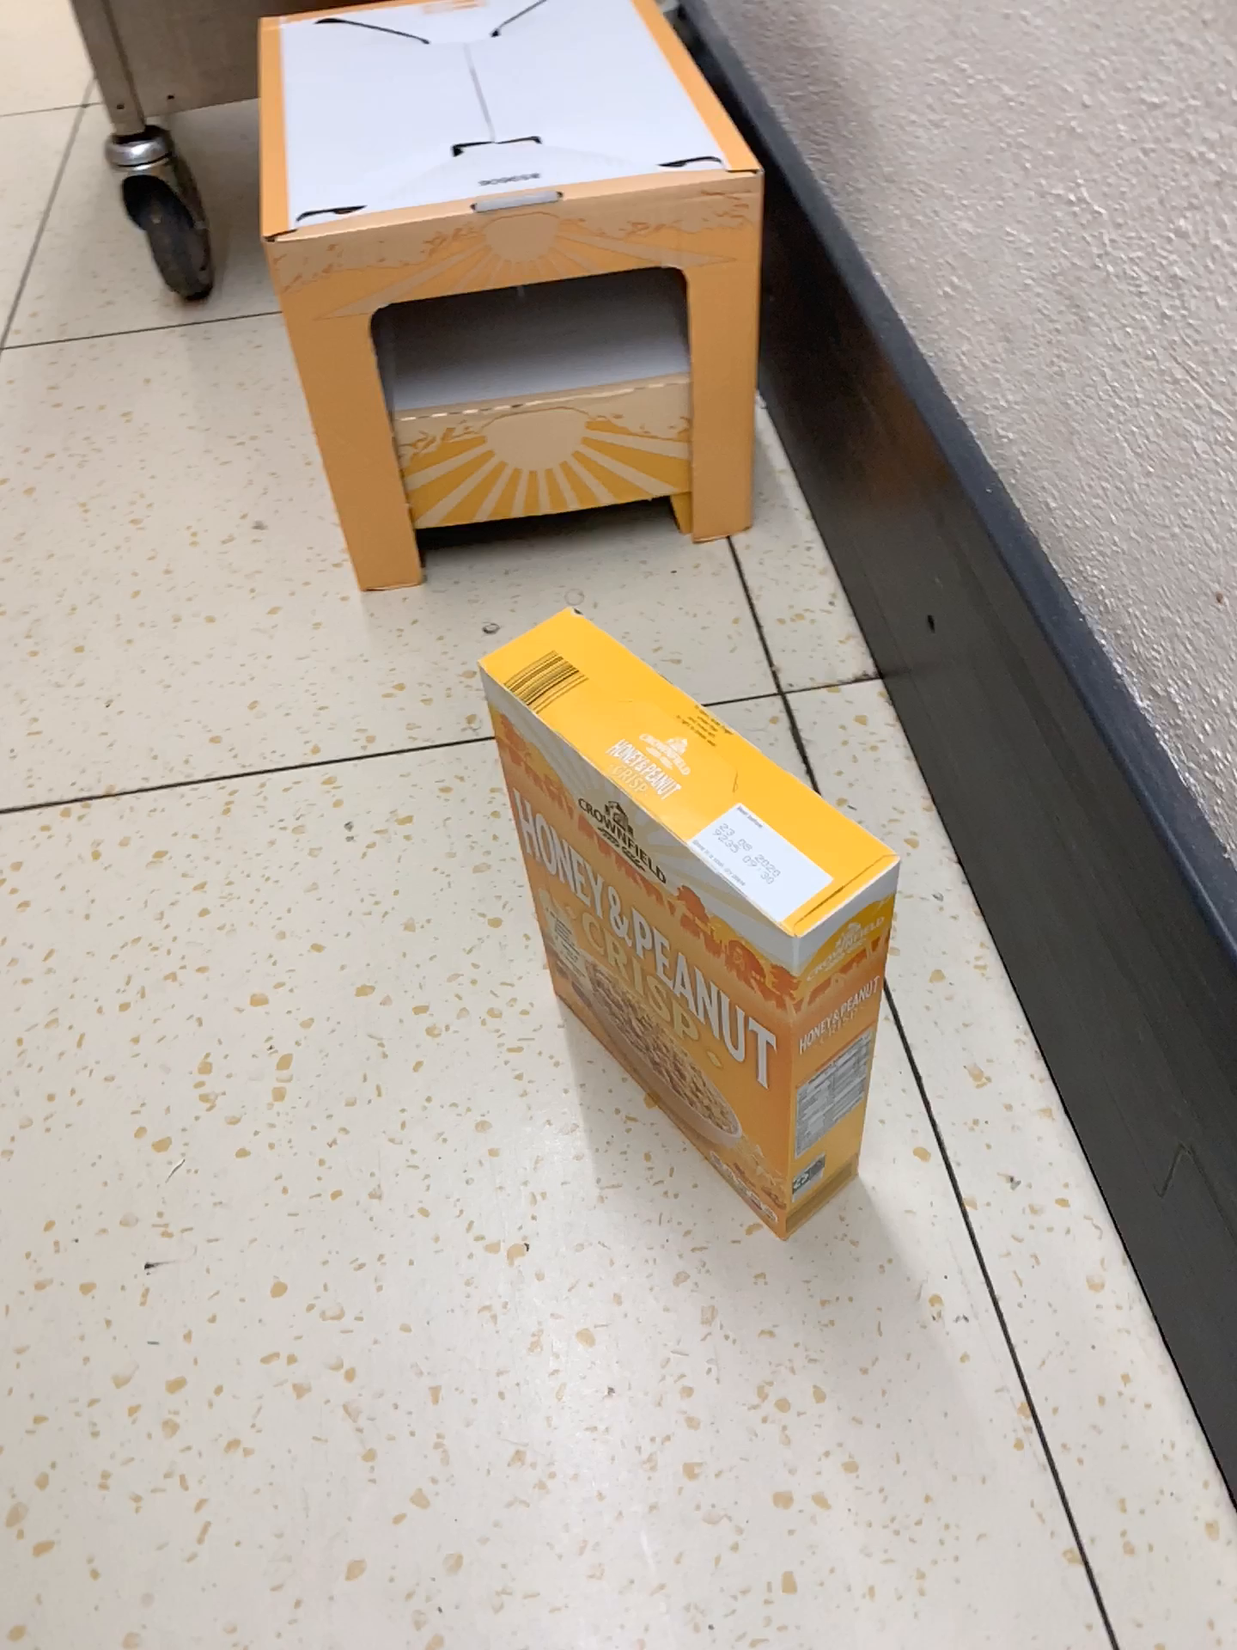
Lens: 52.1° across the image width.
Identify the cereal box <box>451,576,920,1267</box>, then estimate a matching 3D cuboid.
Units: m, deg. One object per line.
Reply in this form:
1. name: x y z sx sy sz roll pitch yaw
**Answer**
1. cereal box: 0.027 0.053 0.545 0.050 0.268 0.191 -35 55 -21
